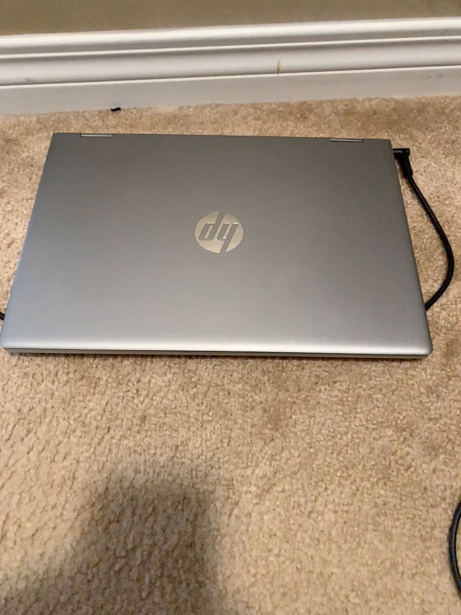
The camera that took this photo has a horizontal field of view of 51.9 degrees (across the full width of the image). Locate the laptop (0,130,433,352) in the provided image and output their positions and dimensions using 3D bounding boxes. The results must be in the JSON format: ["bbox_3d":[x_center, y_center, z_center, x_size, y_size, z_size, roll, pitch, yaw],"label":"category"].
[{"bbox_3d":[-0.007,-0.067,0.399,0.319,0.001,0.222,1,61,-2],"label":"laptop"}]
